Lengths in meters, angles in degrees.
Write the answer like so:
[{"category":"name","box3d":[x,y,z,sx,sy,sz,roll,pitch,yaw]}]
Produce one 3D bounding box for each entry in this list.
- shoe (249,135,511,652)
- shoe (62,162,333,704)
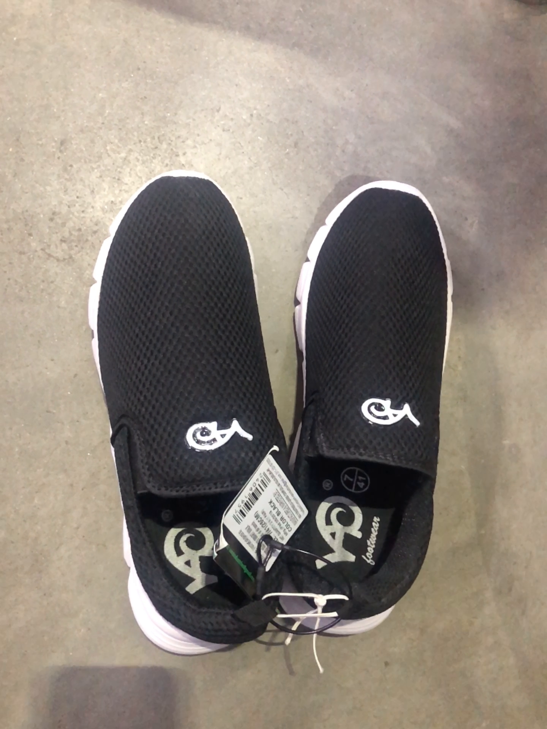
[{"category":"shoe","box3d":[0.062,0.015,0.381,0.110,0.100,0.270,9,81,-3]},{"category":"shoe","box3d":[-0.049,0.029,0.353,0.110,0.100,0.260,-5,85,-14]}]
